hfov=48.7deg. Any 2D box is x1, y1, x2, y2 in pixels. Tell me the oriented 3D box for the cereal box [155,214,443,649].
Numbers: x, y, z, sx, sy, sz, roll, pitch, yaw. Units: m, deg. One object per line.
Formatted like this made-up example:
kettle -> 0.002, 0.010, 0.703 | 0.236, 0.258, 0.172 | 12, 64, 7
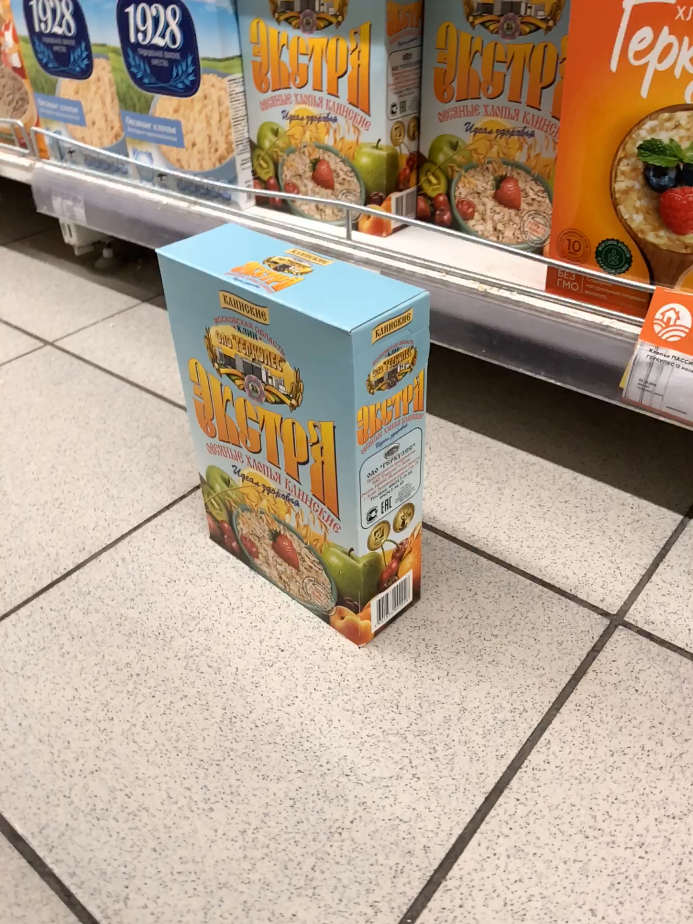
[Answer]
cereal box -> -0.025, -0.018, 0.448 | 0.150, 0.209, 0.060 | 29, 47, 36
